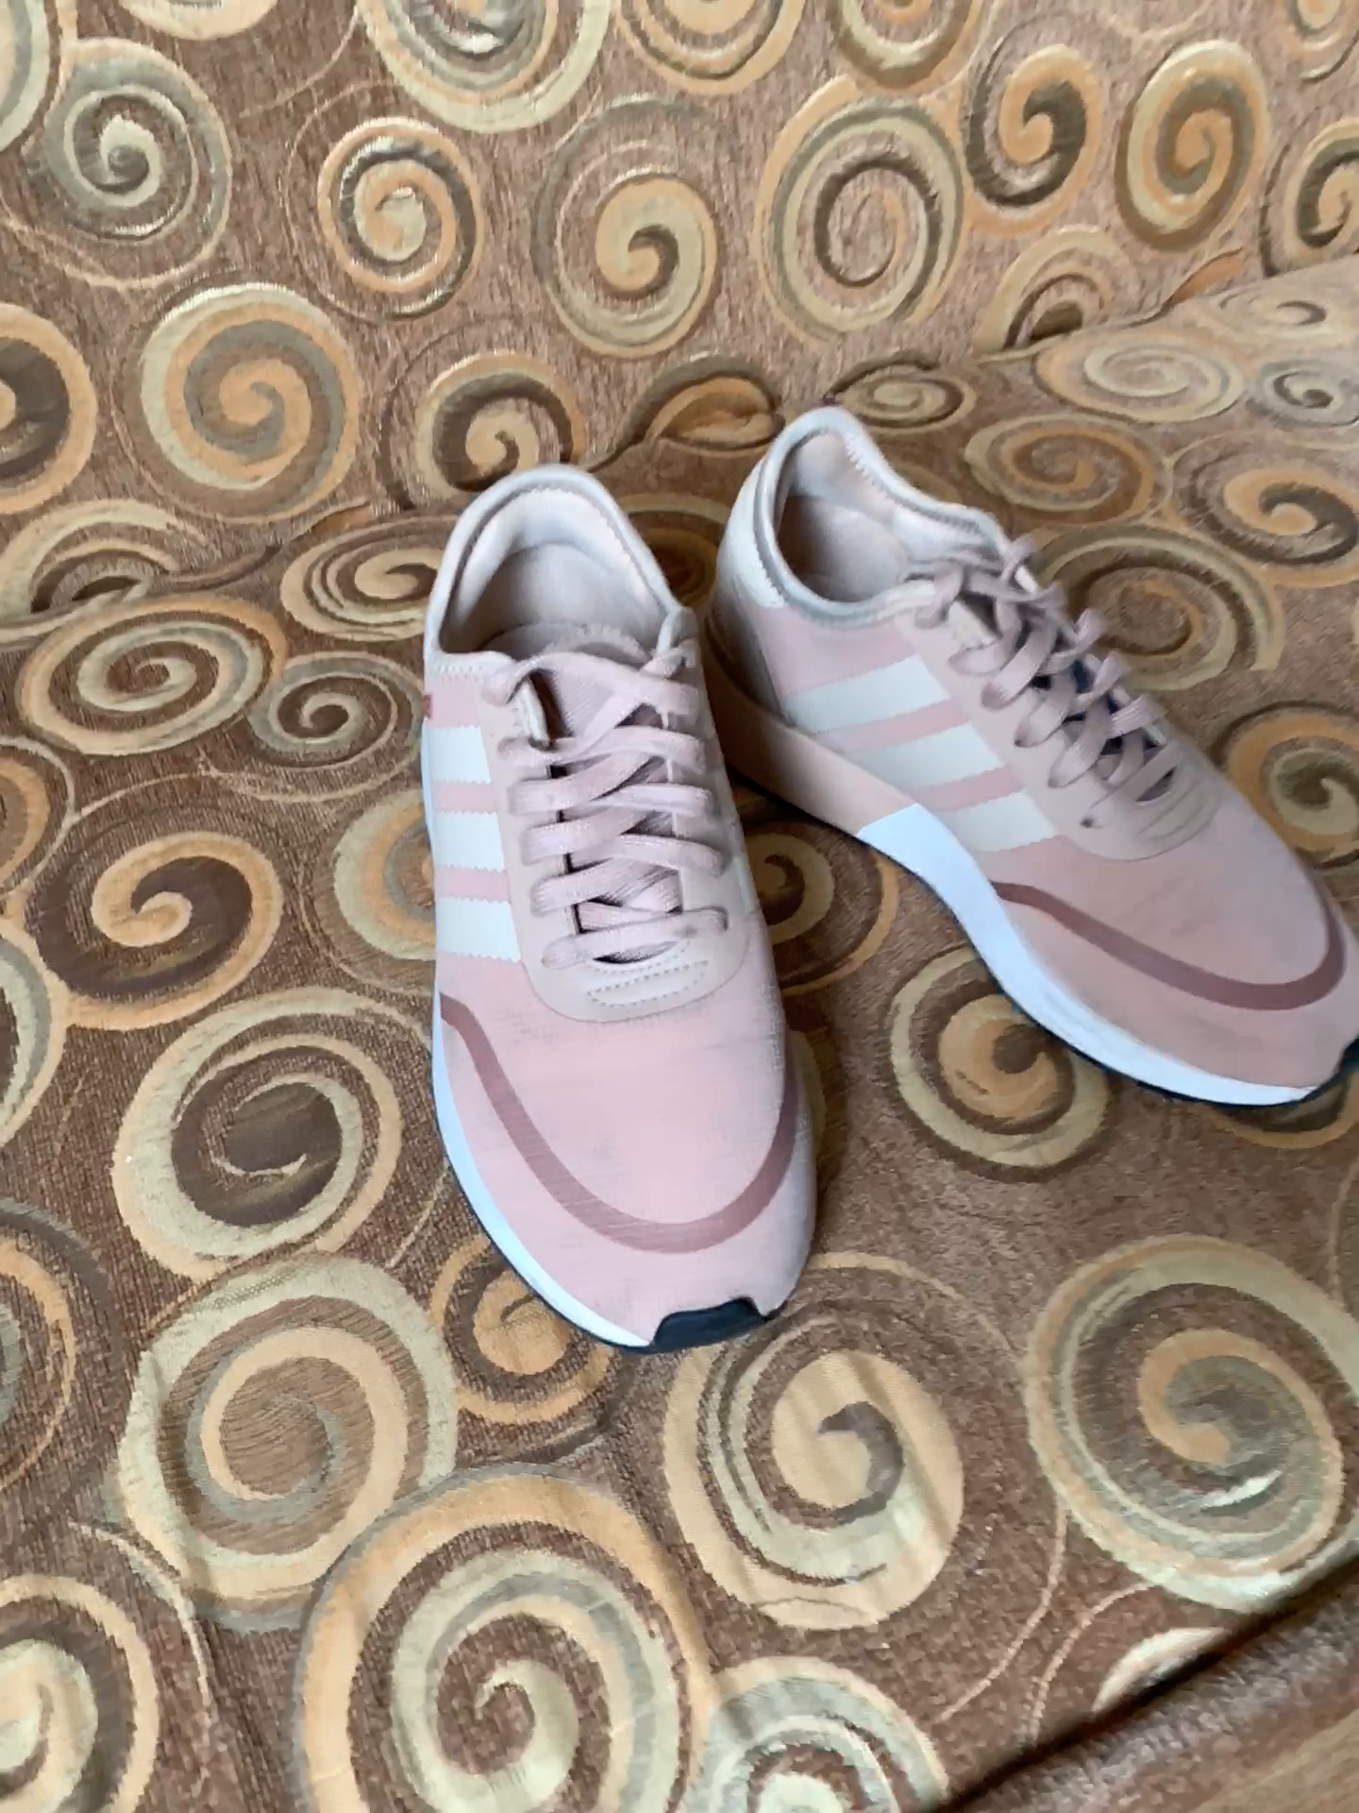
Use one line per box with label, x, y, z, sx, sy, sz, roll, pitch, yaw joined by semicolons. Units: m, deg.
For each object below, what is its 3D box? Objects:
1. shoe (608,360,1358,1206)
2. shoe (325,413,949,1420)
shoe;0.101;-0.046;0.413;0.100;0.090;0.250;-39;65;-24
shoe;-0.025;-0.011;0.373;0.100;0.090;0.251;-10;57;-9
